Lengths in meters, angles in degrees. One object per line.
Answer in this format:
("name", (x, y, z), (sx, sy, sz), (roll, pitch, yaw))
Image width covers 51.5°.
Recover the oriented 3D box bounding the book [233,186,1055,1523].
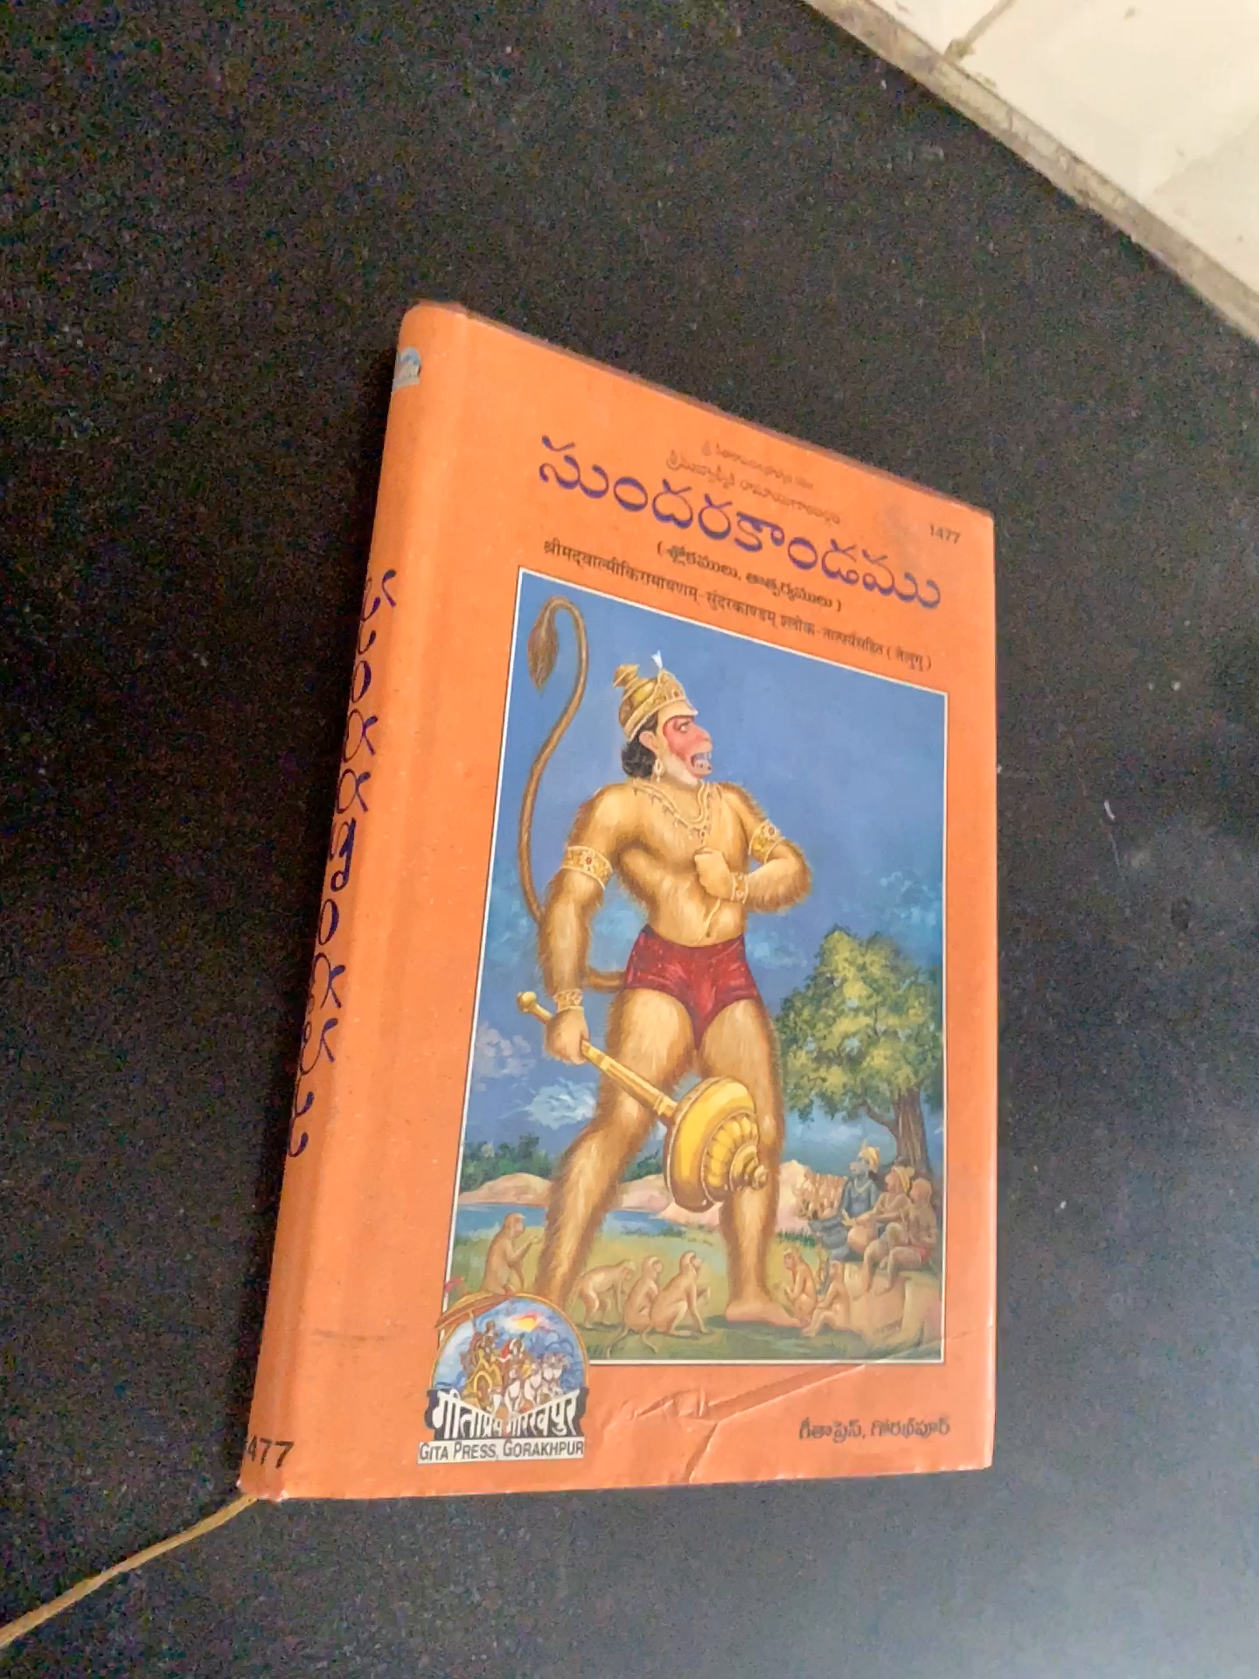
("book", (0.024, 0.006, 0.346), (0.201, 0.040, 0.301), (12, 73, -27))
